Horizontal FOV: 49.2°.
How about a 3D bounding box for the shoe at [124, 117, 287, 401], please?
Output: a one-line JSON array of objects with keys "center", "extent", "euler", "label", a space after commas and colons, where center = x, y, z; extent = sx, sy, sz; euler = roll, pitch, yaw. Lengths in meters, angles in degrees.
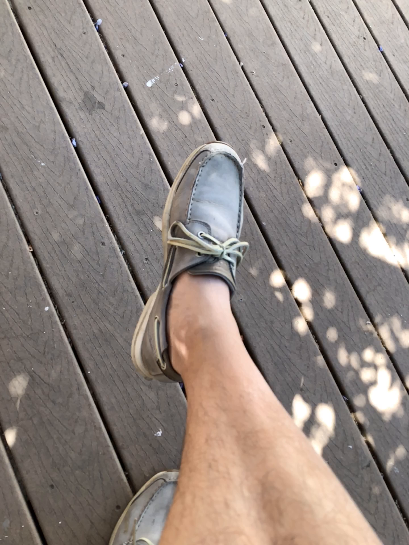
[{"center": [0.000, -0.015, 0.551], "extent": [0.115, 0.085, 0.306], "euler": [15, 82, -14], "label": "shoe"}]
